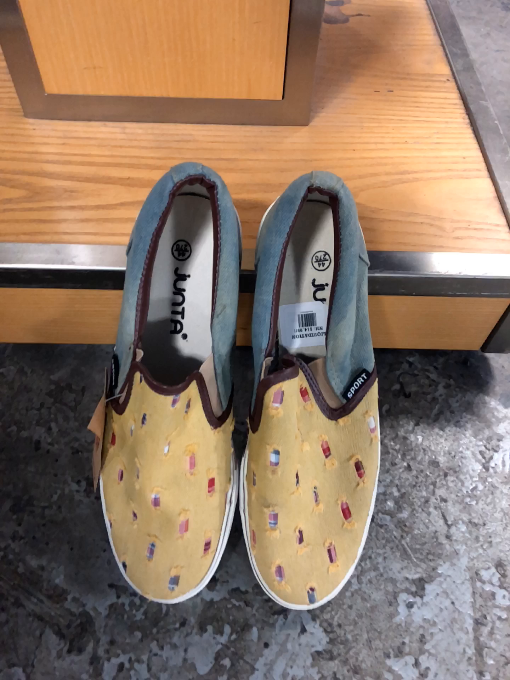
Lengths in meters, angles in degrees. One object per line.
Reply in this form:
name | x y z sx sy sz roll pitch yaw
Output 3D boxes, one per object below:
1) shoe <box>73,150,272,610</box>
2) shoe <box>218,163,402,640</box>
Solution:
shoe | -0.050 0.020 0.376 0.090 0.259 0.120 7 12 3
shoe | 0.032 0.035 0.370 0.090 0.279 0.100 3 12 5
